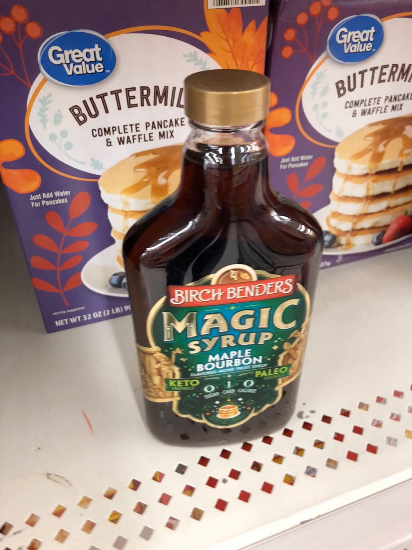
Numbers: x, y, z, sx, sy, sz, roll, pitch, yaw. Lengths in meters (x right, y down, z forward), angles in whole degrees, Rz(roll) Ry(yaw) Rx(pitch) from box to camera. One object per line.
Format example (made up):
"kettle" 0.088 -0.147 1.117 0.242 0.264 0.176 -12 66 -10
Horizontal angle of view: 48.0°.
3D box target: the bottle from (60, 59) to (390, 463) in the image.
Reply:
"bottle" 0.004 0.006 0.212 0.100 0.180 0.050 -6 38 -7
